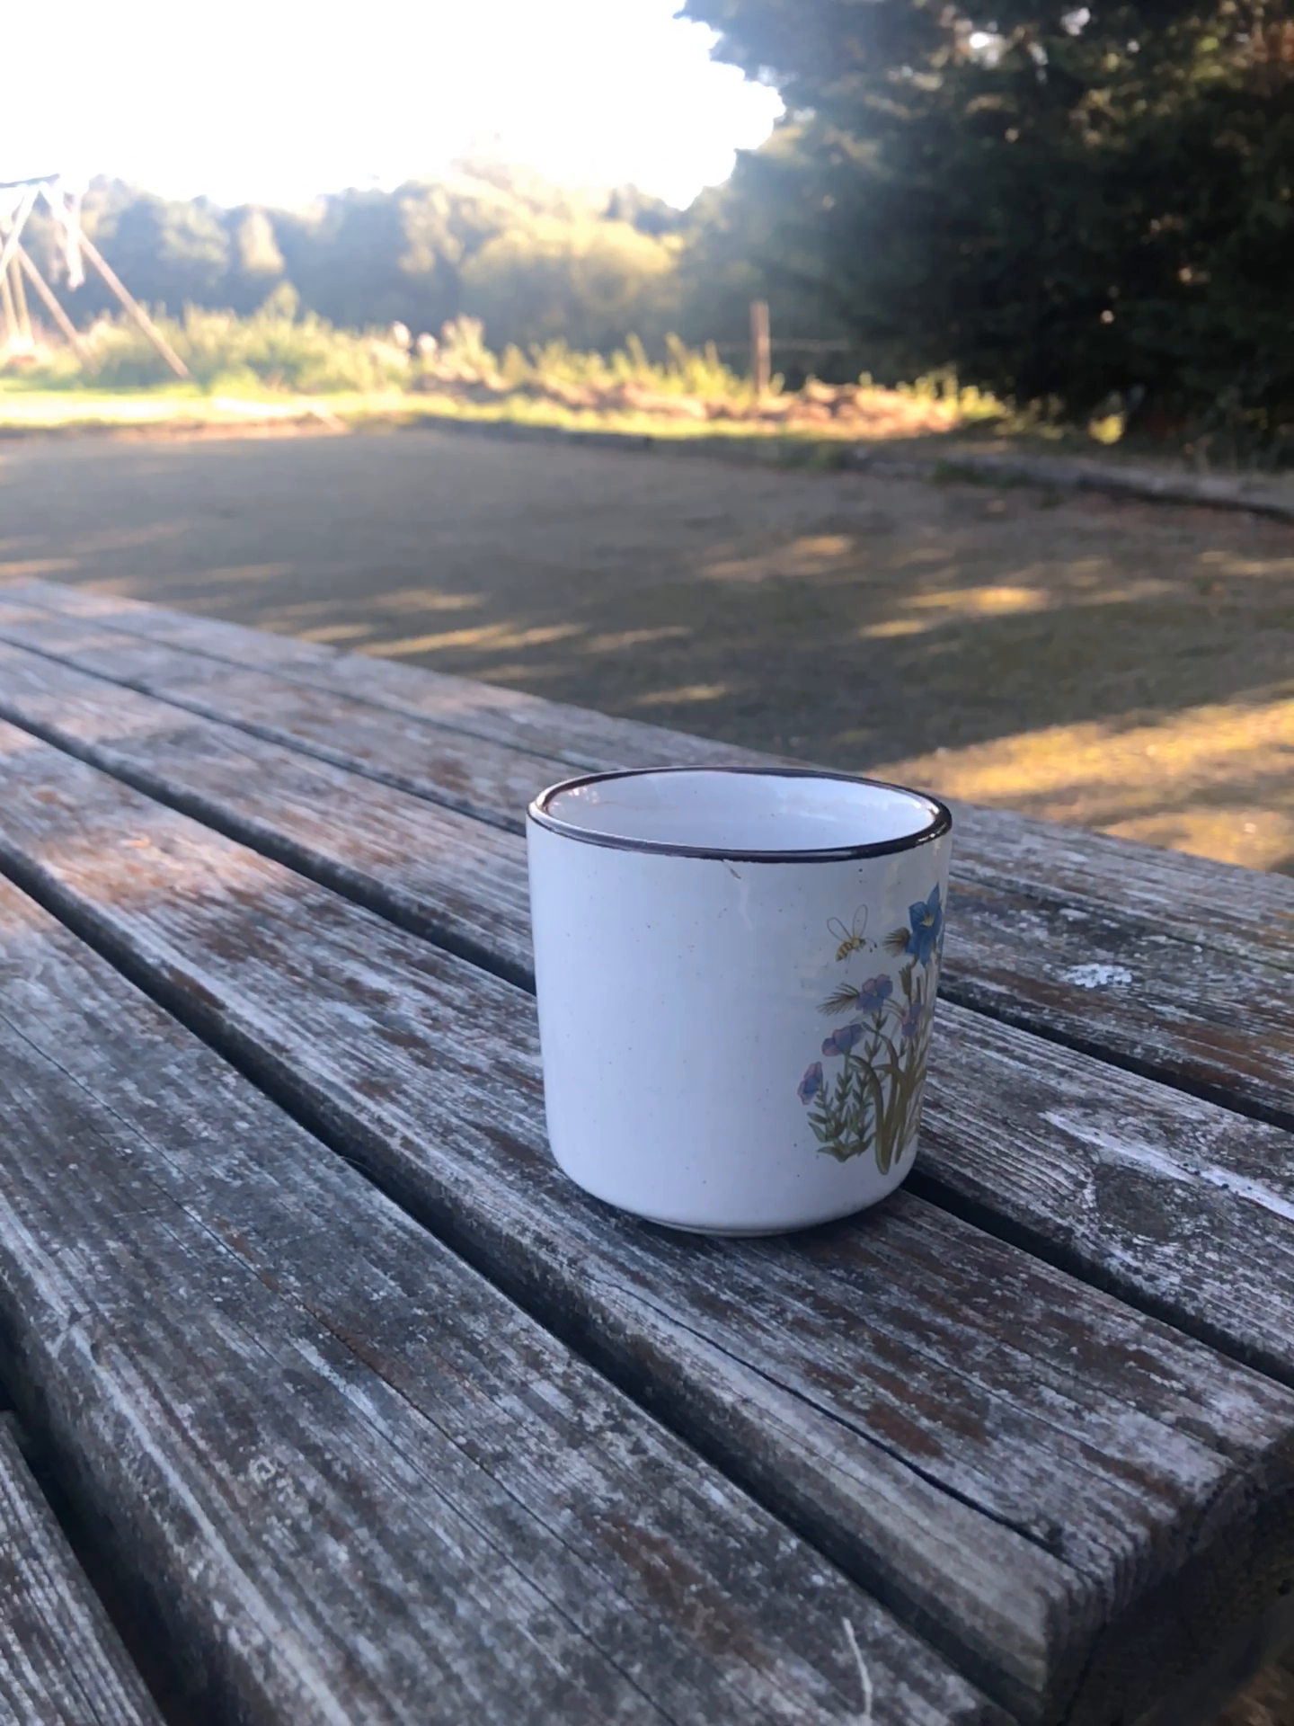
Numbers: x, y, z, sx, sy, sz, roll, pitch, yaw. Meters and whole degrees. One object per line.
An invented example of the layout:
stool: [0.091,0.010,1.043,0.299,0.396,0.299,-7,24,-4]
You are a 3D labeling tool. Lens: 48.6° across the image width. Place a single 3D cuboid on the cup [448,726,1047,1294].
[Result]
cup: [0.027,0.021,0.312,0.086,0.078,0.109,7,18,30]
